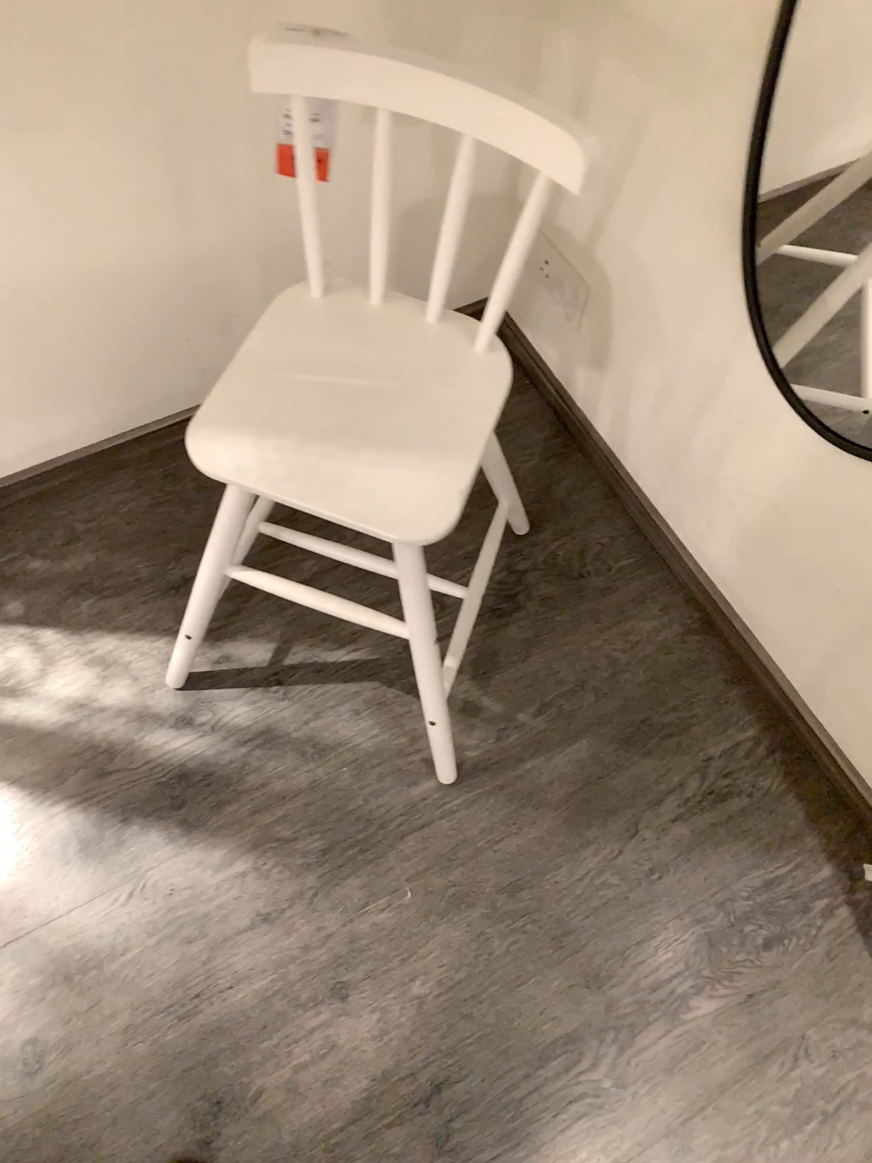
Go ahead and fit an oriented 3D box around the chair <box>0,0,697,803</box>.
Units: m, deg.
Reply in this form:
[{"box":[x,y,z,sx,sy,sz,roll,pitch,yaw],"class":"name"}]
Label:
[{"box":[-0.081,-0.133,0.989,0.450,0.659,0.481,18,63,4],"class":"chair"}]
